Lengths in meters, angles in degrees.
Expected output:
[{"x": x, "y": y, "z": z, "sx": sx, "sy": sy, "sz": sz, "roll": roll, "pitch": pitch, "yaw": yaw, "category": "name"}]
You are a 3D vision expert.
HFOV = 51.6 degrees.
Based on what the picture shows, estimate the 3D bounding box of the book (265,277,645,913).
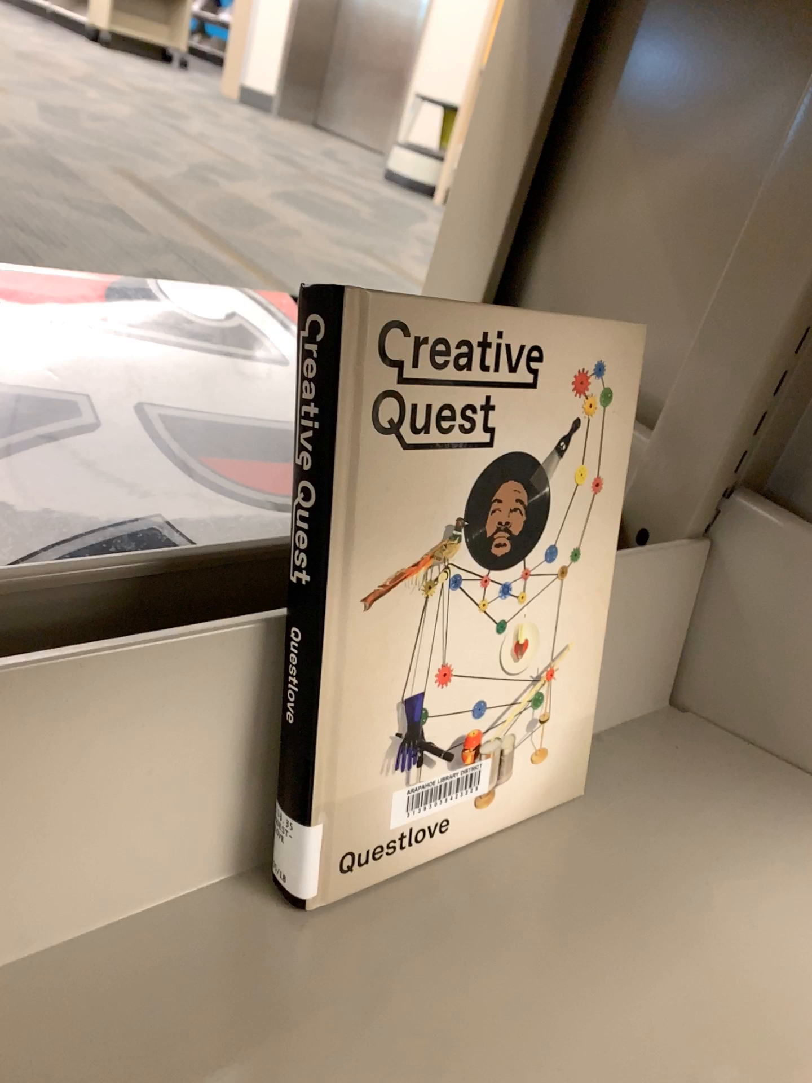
[{"x": 0.024, "y": 0.017, "z": 0.346, "sx": 0.160, "sy": 0.223, "sz": 0.031, "roll": -6, "pitch": 16, "yaw": -39, "category": "book"}]
